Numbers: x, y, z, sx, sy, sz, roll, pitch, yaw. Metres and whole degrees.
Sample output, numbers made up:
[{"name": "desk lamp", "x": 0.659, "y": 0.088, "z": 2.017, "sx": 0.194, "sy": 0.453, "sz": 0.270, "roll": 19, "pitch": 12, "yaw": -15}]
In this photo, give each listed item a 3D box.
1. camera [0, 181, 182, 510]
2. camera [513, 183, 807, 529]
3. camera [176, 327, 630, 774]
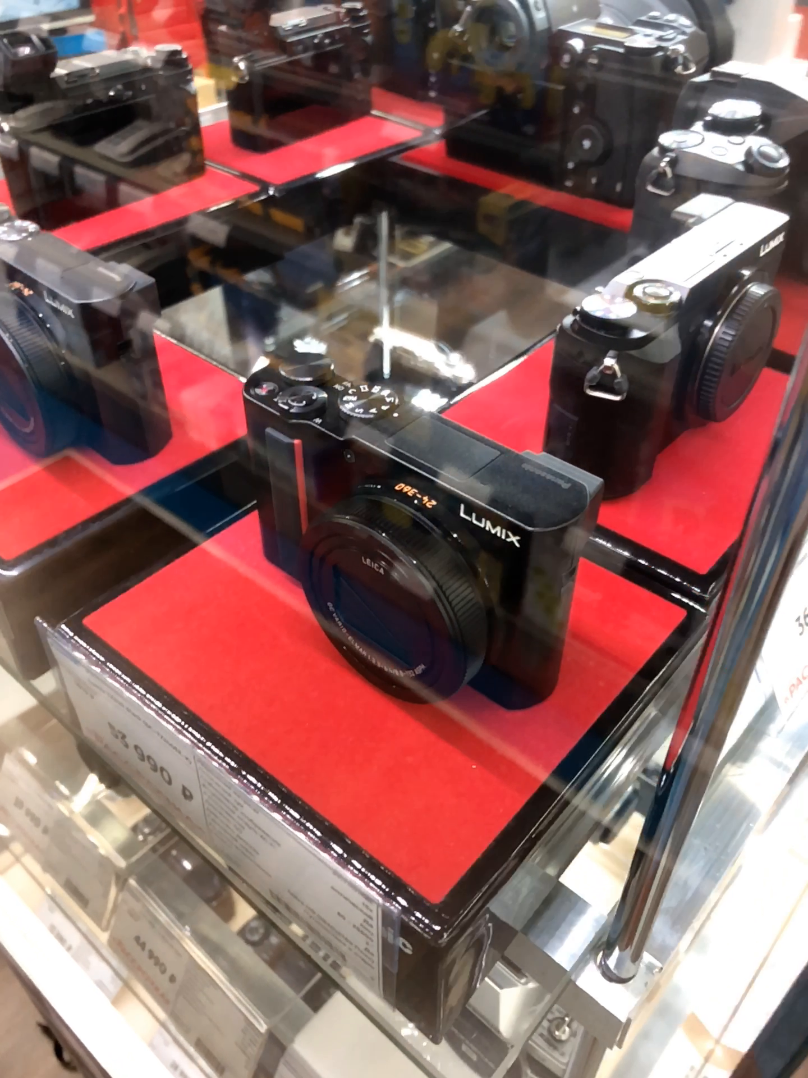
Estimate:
[{"name": "camera", "x": -0.148, "y": -0.078, "z": 0.346, "sx": 0.114, "sy": 0.076, "sz": 0.055, "roll": 32, "pitch": 50, "yaw": 32}, {"name": "camera", "x": 0.094, "y": -0.069, "z": 0.322, "sx": 0.054, "sy": 0.076, "sz": 0.102, "roll": 29, "pitch": 49, "yaw": 30}, {"name": "camera", "x": -0.003, "y": -0.001, "z": 0.254, "sx": 0.110, "sy": 0.070, "sz": 0.052, "roll": 30, "pitch": 49, "yaw": 30}]
